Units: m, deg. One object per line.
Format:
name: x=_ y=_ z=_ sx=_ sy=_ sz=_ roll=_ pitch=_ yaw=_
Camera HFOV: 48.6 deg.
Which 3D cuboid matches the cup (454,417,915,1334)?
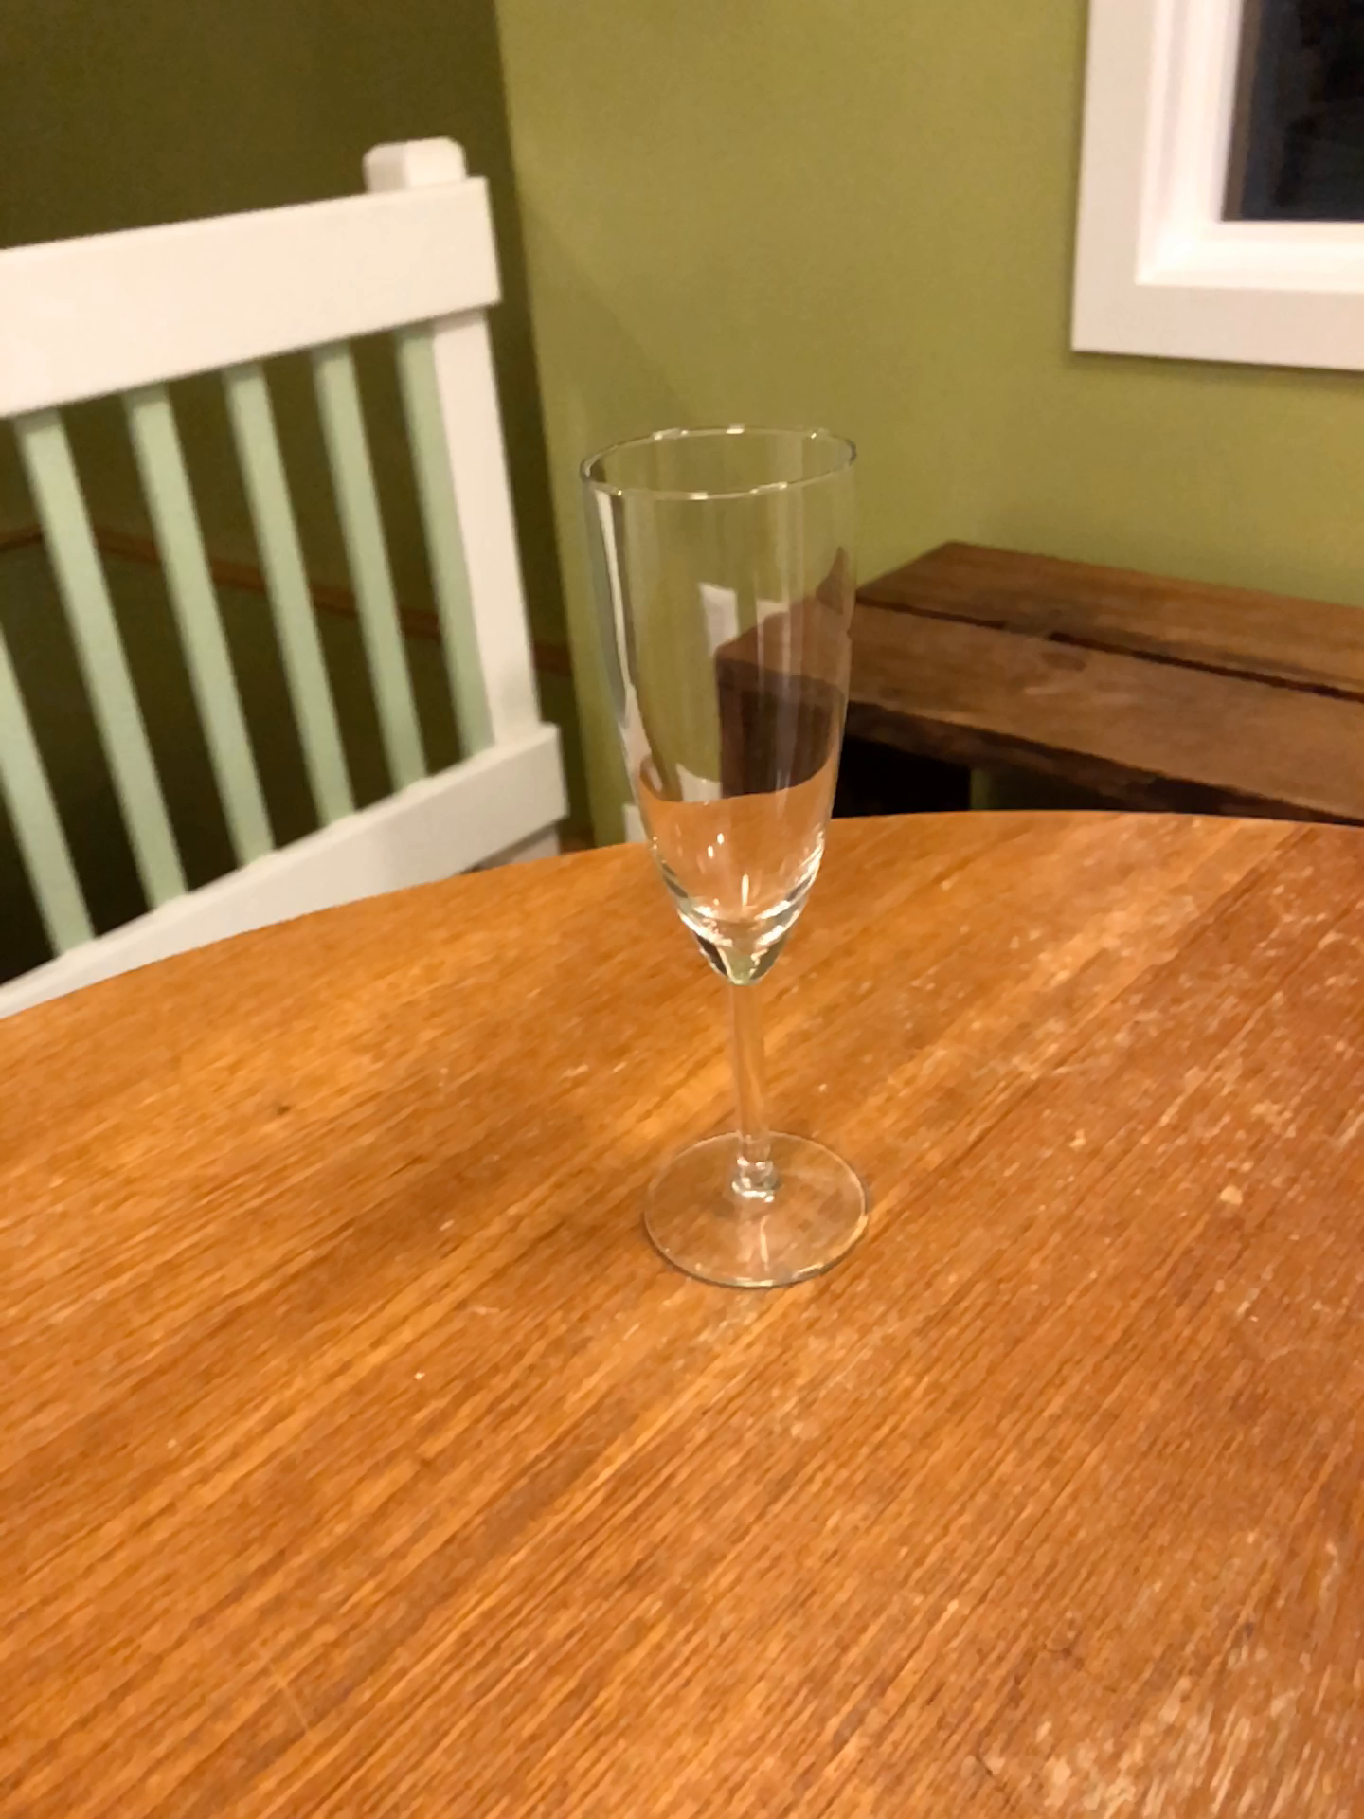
cup: x=0.009 y=-0.007 z=0.388 sx=0.070 sy=0.211 sz=0.077 roll=21 pitch=38 yaw=37
